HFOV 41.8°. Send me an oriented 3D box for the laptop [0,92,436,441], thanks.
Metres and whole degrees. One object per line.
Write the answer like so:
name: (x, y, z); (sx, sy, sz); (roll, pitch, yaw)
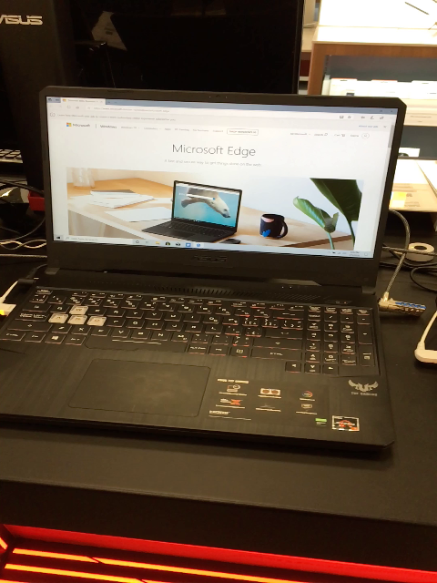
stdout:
laptop: (-0.031, -0.050, 0.552); (0.397, 0.207, 0.315); (5, 34, 6)
